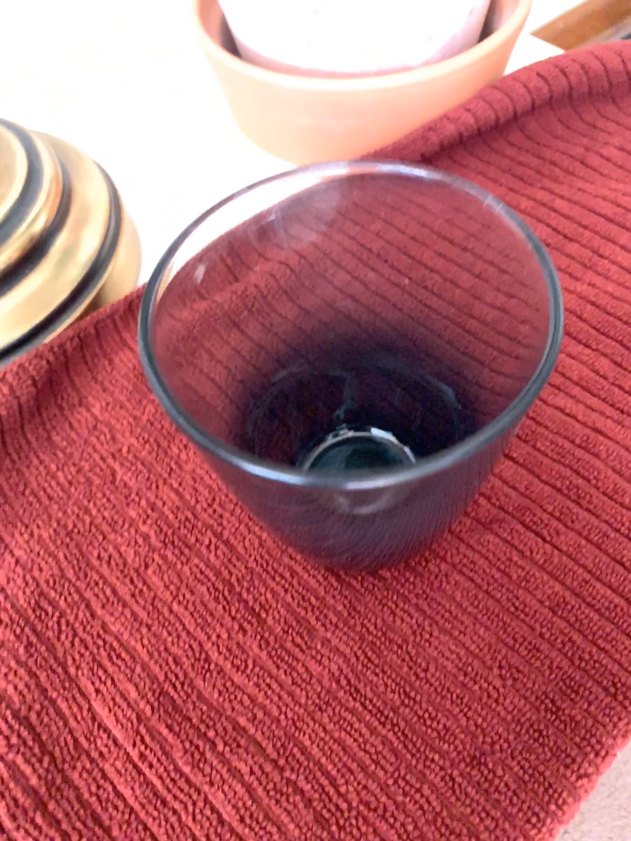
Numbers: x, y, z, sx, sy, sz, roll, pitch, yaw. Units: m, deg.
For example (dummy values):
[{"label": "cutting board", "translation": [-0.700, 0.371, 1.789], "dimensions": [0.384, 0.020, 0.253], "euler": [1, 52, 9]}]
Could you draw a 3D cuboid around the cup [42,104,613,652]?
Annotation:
[{"label": "cup", "translation": [0.009, -0.012, 0.158], "dimensions": [0.084, 0.070, 0.087], "euler": [-3, 56, 4]}]
